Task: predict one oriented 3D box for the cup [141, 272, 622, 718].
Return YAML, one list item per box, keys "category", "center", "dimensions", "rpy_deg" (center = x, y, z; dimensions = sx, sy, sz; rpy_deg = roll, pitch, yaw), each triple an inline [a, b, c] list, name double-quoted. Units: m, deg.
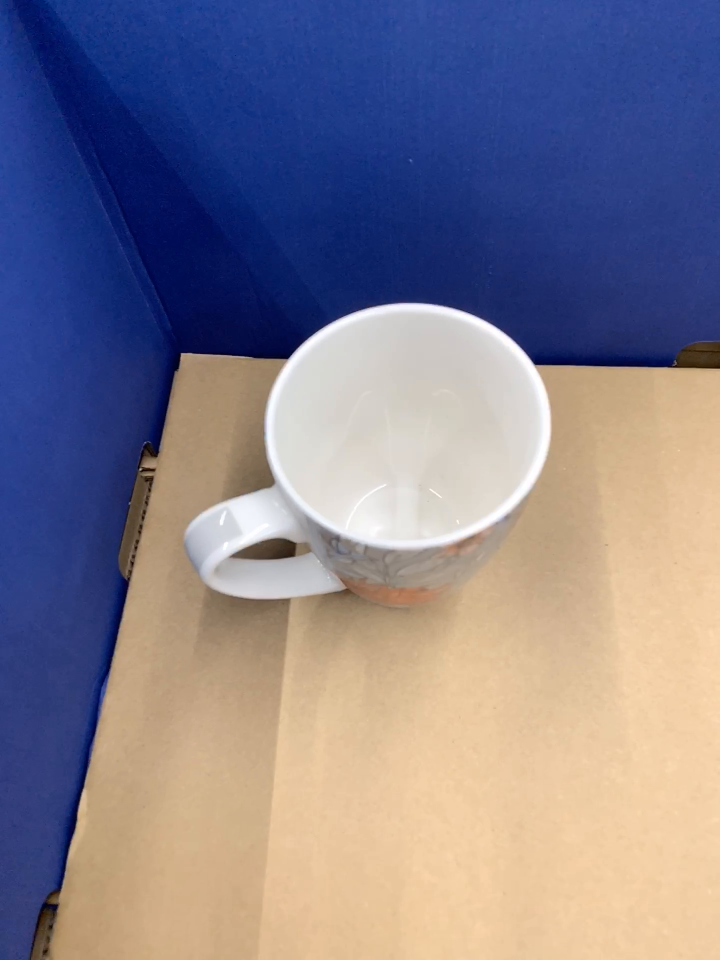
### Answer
- category: "cup"
  center: [0.004, 0.008, 0.255]
  dimensions: [0.117, 0.085, 0.092]
  rpy_deg: [-19, 61, -6]
